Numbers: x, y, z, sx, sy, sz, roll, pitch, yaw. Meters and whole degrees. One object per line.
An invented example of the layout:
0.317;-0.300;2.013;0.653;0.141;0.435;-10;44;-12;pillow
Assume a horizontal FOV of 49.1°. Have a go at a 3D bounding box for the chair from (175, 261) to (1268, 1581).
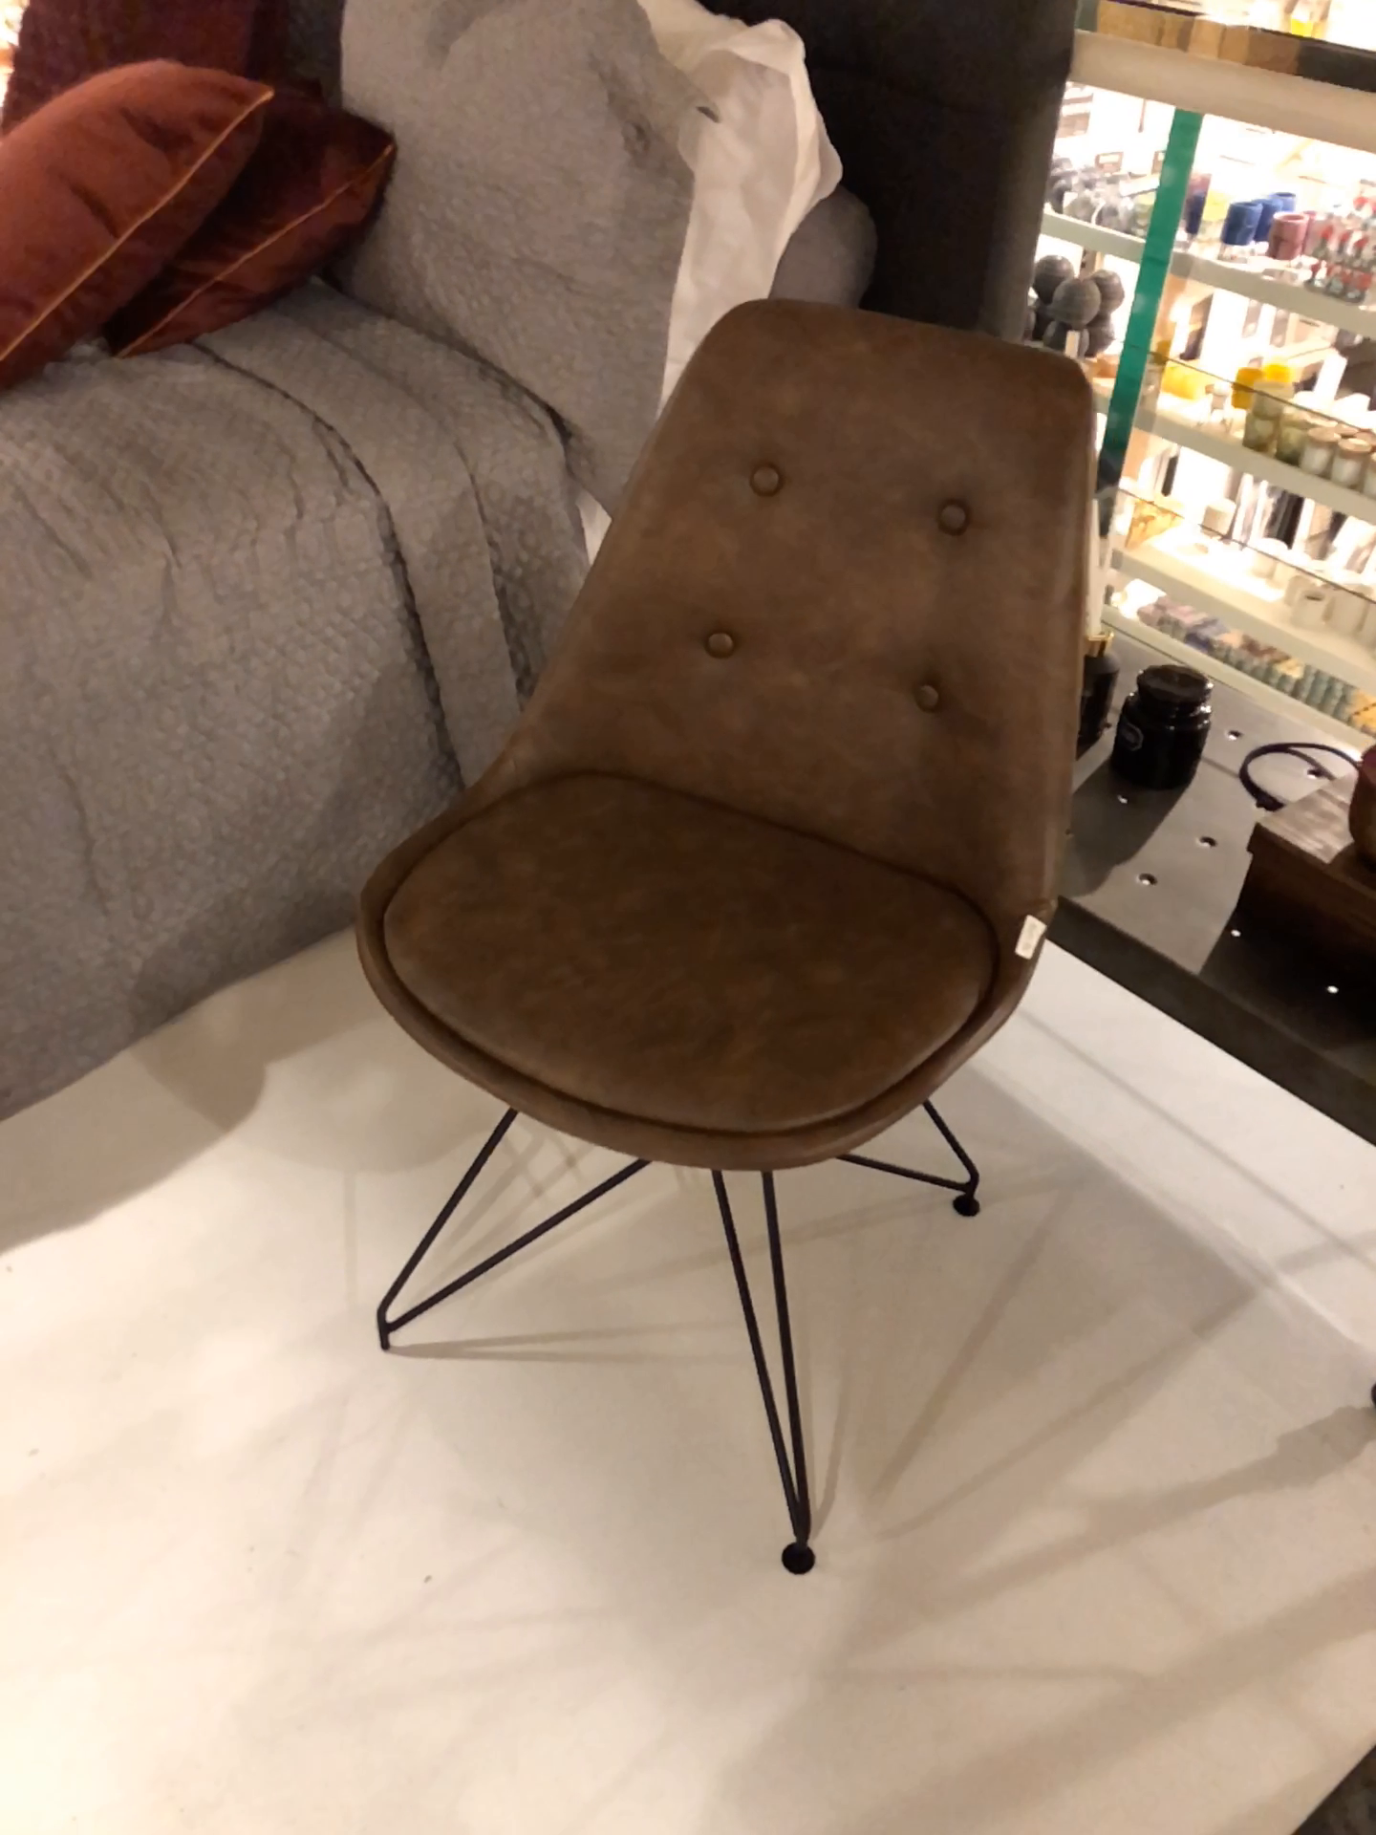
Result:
0.043;-0.021;1.202;0.511;0.754;0.554;20;41;20;chair
